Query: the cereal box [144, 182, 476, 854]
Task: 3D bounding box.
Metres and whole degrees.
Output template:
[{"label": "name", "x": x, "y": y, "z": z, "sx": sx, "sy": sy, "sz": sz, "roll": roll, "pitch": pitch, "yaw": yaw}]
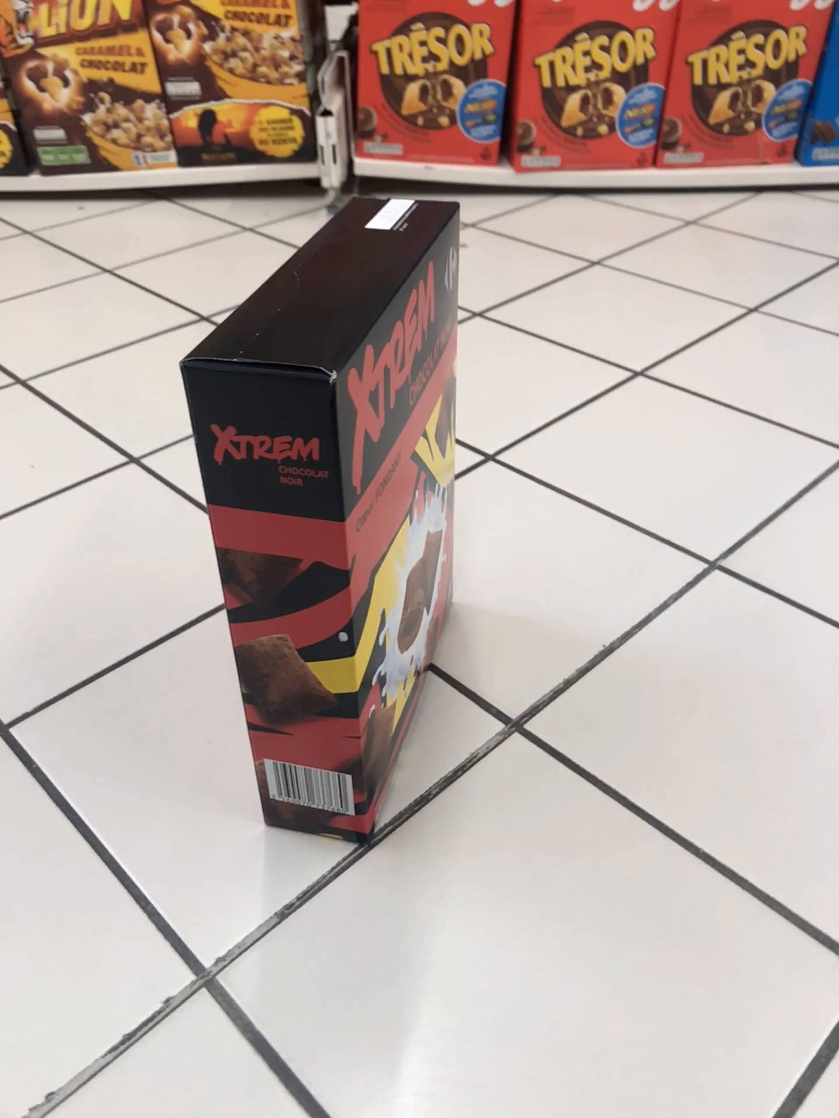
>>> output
[{"label": "cereal box", "x": -0.029, "y": -0.024, "z": 0.448, "sx": 0.070, "sy": 0.248, "sz": 0.201, "roll": 8, "pitch": 38, "yaw": 12}]
